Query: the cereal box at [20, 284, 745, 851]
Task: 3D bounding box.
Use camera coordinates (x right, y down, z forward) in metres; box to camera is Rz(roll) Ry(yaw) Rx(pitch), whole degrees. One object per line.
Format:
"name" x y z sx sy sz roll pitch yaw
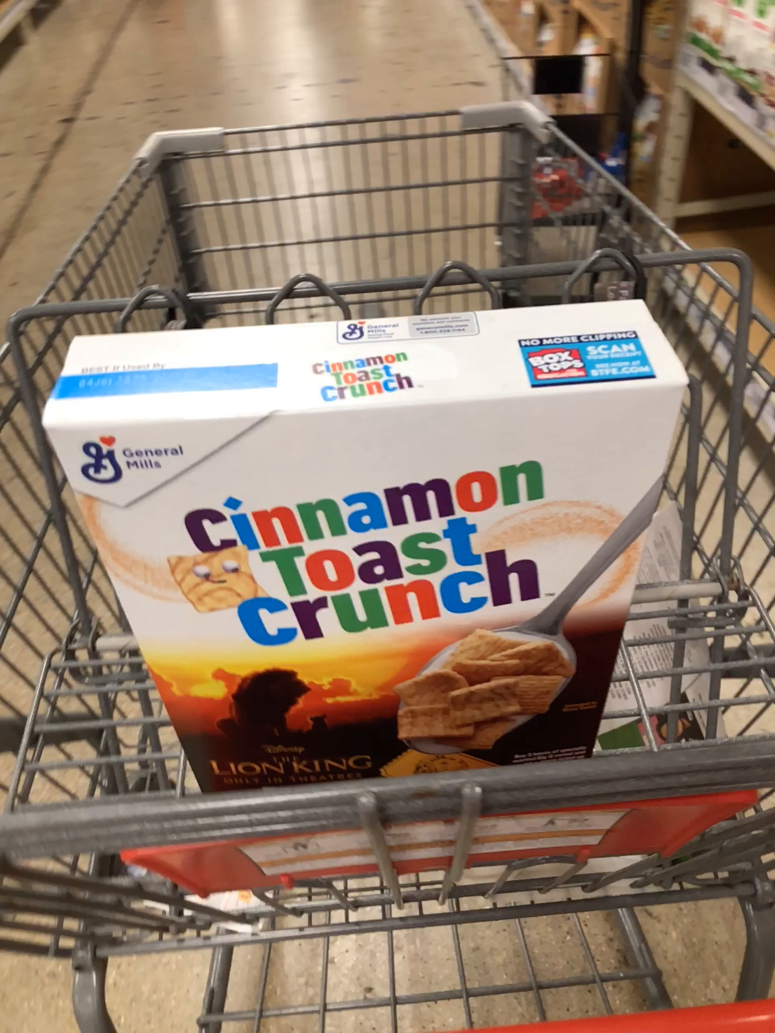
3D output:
"cereal box" 0.007 0.055 0.376 0.210 0.309 0.050 -4 47 2
